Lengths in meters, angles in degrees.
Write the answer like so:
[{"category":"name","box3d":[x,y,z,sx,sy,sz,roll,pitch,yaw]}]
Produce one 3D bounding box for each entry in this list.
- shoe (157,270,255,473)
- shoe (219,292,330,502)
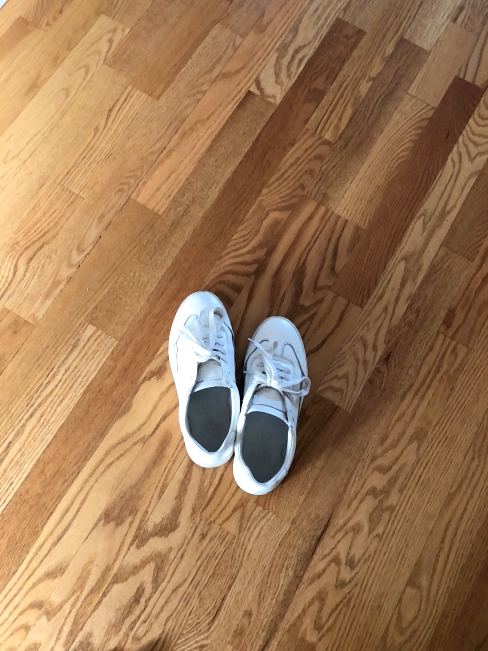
[{"category":"shoe","box3d":[-0.055,0.066,0.756,0.102,0.104,0.260,-6,76,-5]},{"category":"shoe","box3d":[0.041,0.100,0.750,0.102,0.107,0.260,11,75,0]}]
